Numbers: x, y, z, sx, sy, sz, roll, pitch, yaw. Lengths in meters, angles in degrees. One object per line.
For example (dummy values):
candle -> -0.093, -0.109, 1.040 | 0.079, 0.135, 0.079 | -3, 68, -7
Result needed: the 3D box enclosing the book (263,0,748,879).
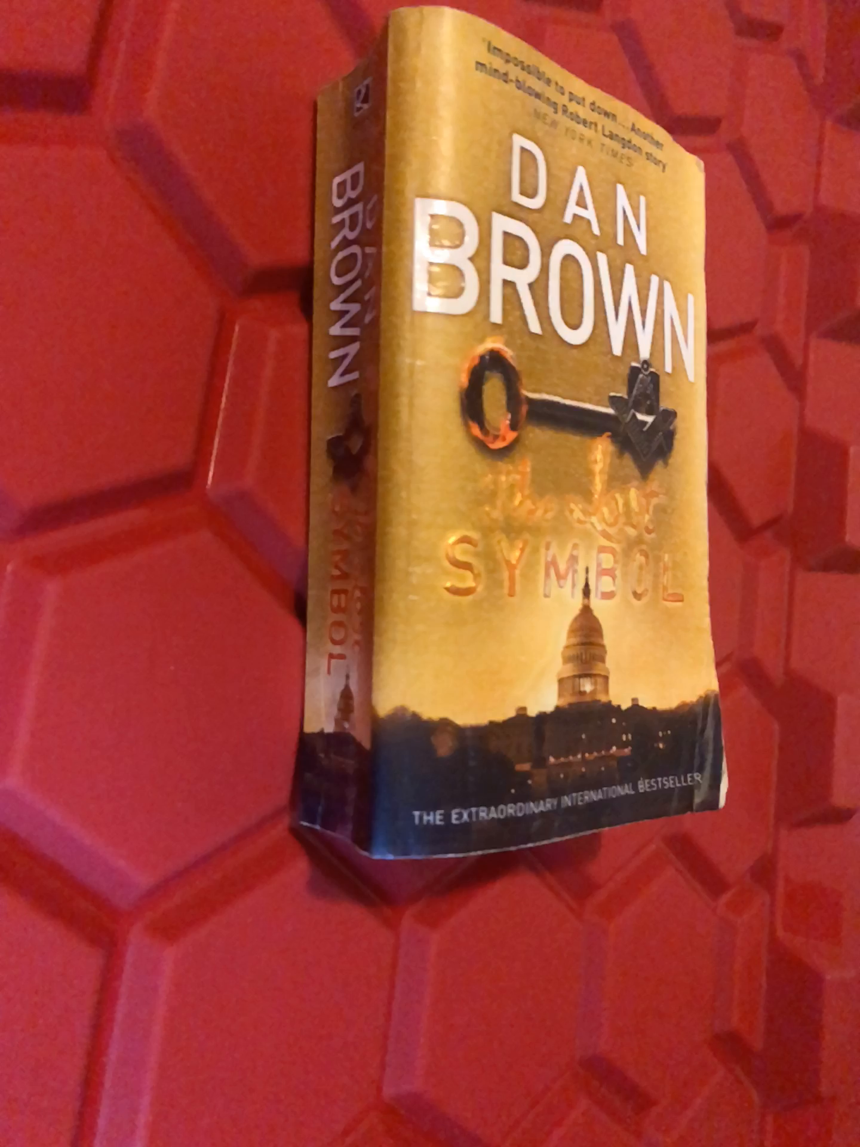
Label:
book -> 0.025, -0.030, 0.245 | 0.123, 0.050, 0.183 | 4, 85, -43
